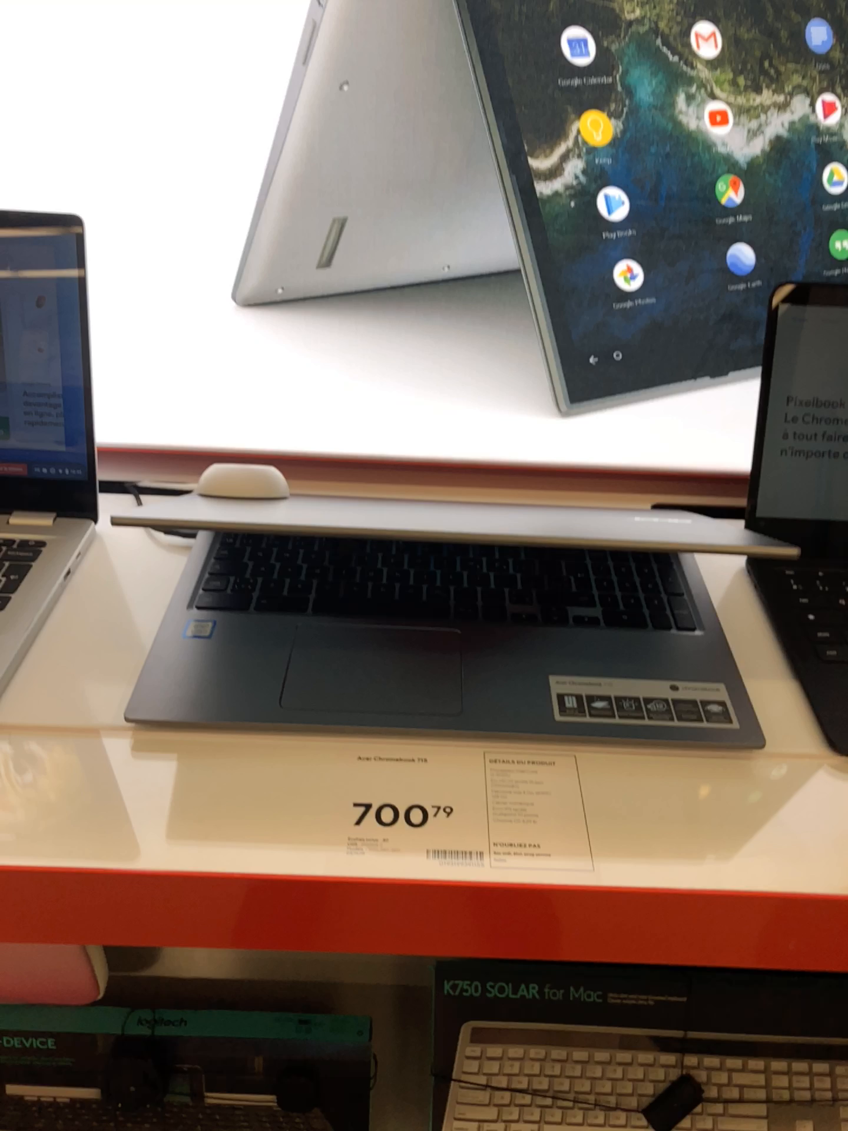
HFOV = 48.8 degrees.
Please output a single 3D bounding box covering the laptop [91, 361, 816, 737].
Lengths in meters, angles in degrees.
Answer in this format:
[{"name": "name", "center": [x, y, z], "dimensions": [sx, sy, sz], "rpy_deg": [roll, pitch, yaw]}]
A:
[{"name": "laptop", "center": [0.019, -0.023, 0.603], "dimensions": [0.368, 0.109, 0.245], "rpy_deg": [2, 35, -3]}]
